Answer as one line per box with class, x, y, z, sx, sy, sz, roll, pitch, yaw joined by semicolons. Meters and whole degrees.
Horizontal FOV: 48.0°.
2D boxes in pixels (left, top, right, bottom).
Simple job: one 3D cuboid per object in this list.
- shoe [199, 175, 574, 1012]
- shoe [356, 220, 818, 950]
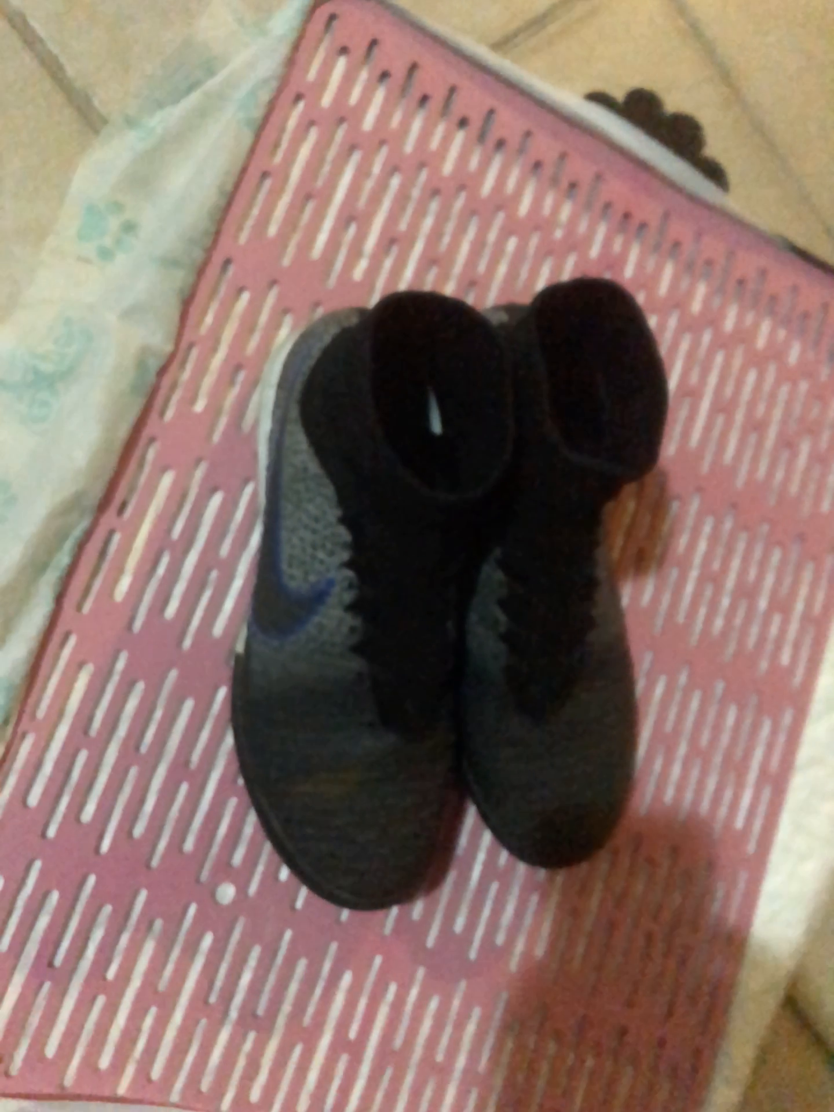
shoe;-0.025;0.012;0.389;0.100;0.150;0.270;-2;86;-20
shoe;0.062;0.009;0.420;0.100;0.150;0.260;-9;88;-20
